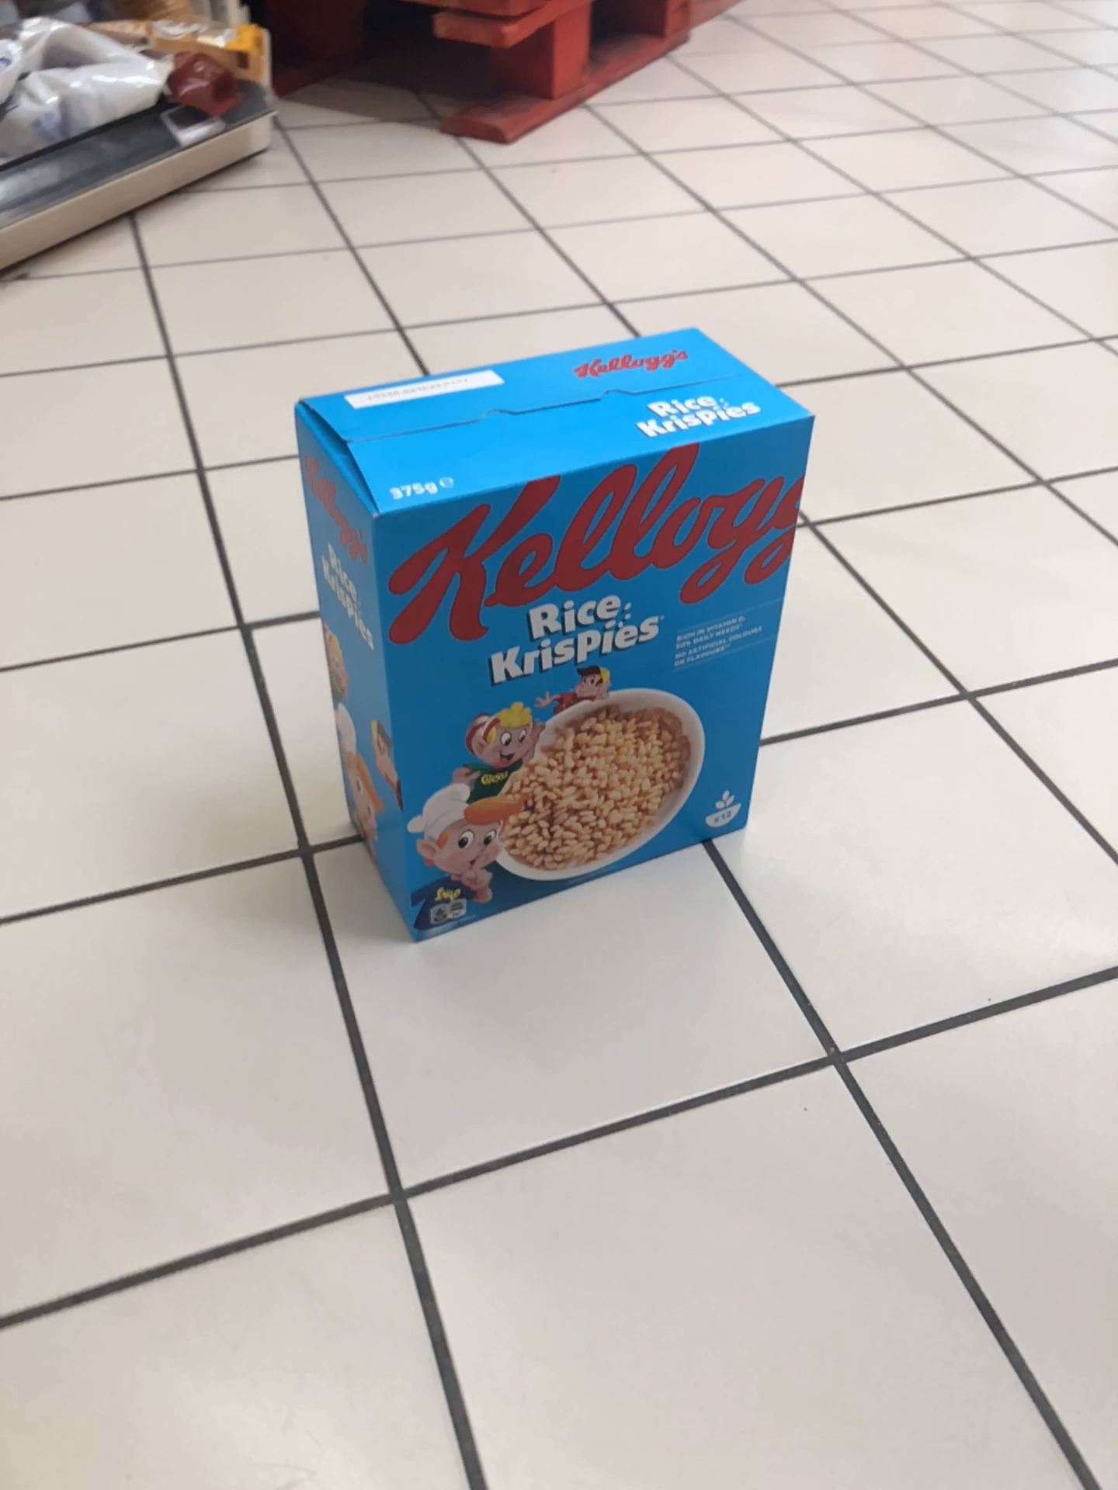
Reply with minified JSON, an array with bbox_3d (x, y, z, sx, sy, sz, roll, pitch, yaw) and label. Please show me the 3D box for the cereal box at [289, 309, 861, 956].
[{"bbox_3d":[0.002,-0.050,0.570,0.201,0.238,0.110,-16,45,-19],"label":"cereal box"}]
